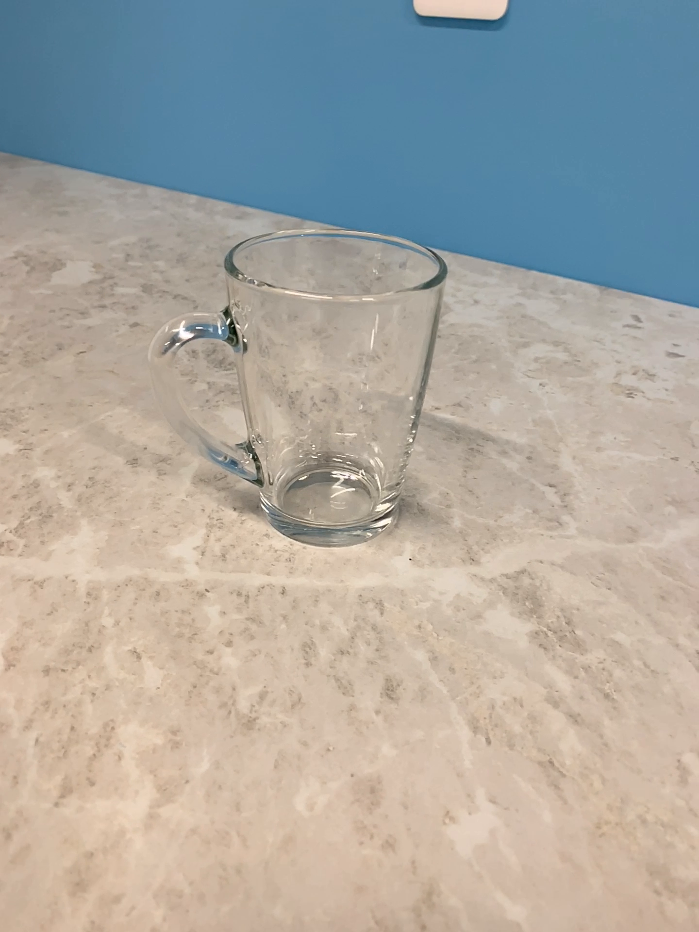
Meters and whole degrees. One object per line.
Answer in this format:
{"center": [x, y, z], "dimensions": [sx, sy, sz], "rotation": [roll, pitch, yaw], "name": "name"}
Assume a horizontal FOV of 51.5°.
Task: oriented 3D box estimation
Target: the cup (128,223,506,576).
{"center": [-0.019, -0.032, 0.281], "dimensions": [0.115, 0.097, 0.089], "rotation": [-7, 33, -15], "name": "cup"}
